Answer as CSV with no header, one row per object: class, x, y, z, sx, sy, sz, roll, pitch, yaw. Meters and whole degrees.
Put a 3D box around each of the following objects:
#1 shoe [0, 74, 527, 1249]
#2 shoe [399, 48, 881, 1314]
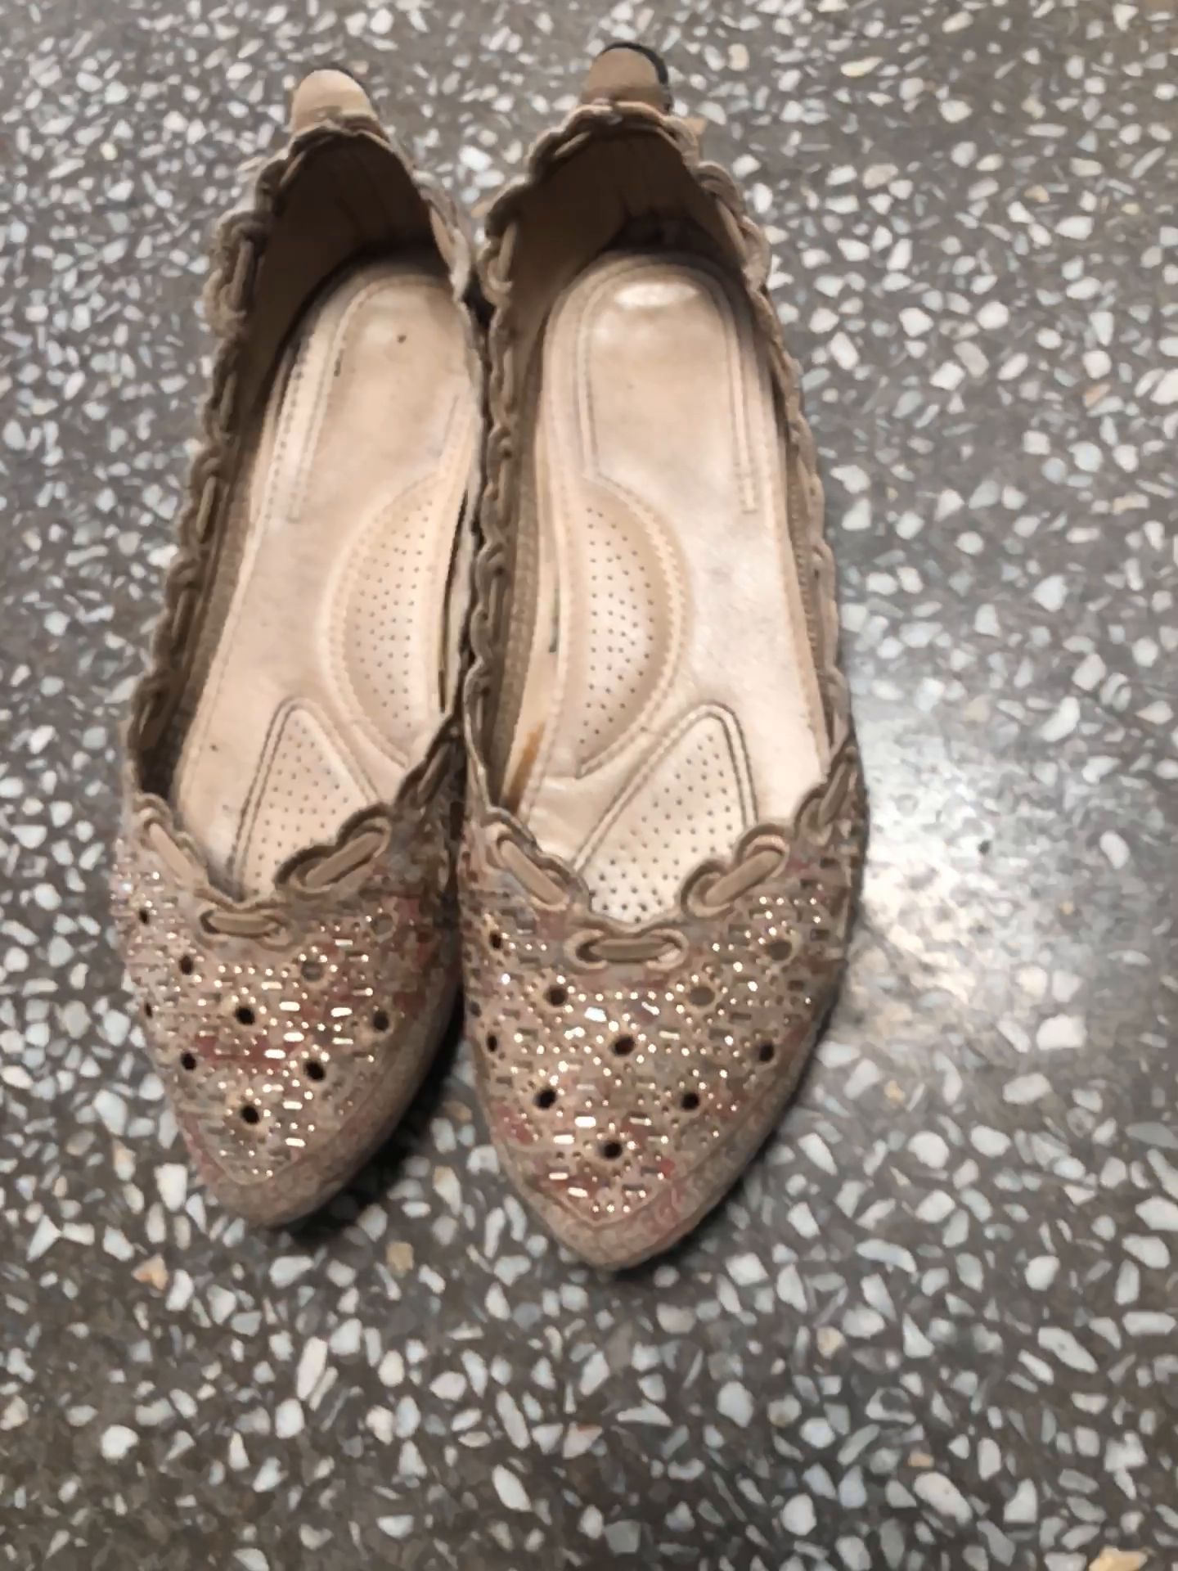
shoe,-0.074,-0.039,0.323,0.090,0.040,0.280,1,75,10
shoe,0.017,-0.031,0.300,0.090,0.040,0.270,1,79,10
